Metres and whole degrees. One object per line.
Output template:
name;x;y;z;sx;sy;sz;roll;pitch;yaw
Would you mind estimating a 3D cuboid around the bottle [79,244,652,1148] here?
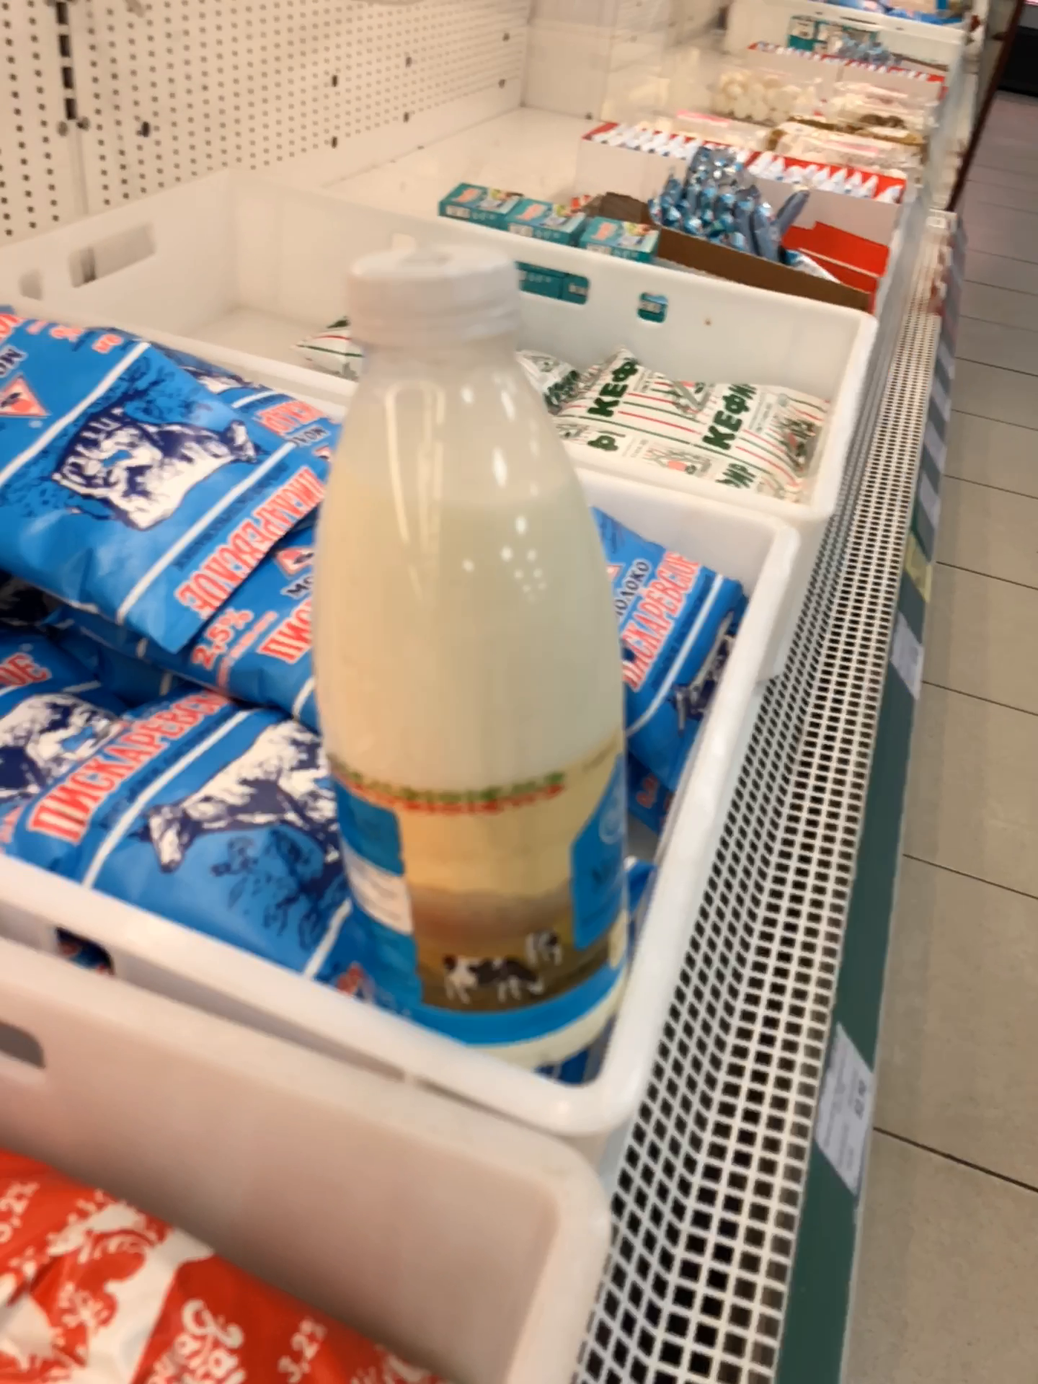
bottle;-0.024;0.005;0.318;0.090;0.229;0.091;-5;31;3
